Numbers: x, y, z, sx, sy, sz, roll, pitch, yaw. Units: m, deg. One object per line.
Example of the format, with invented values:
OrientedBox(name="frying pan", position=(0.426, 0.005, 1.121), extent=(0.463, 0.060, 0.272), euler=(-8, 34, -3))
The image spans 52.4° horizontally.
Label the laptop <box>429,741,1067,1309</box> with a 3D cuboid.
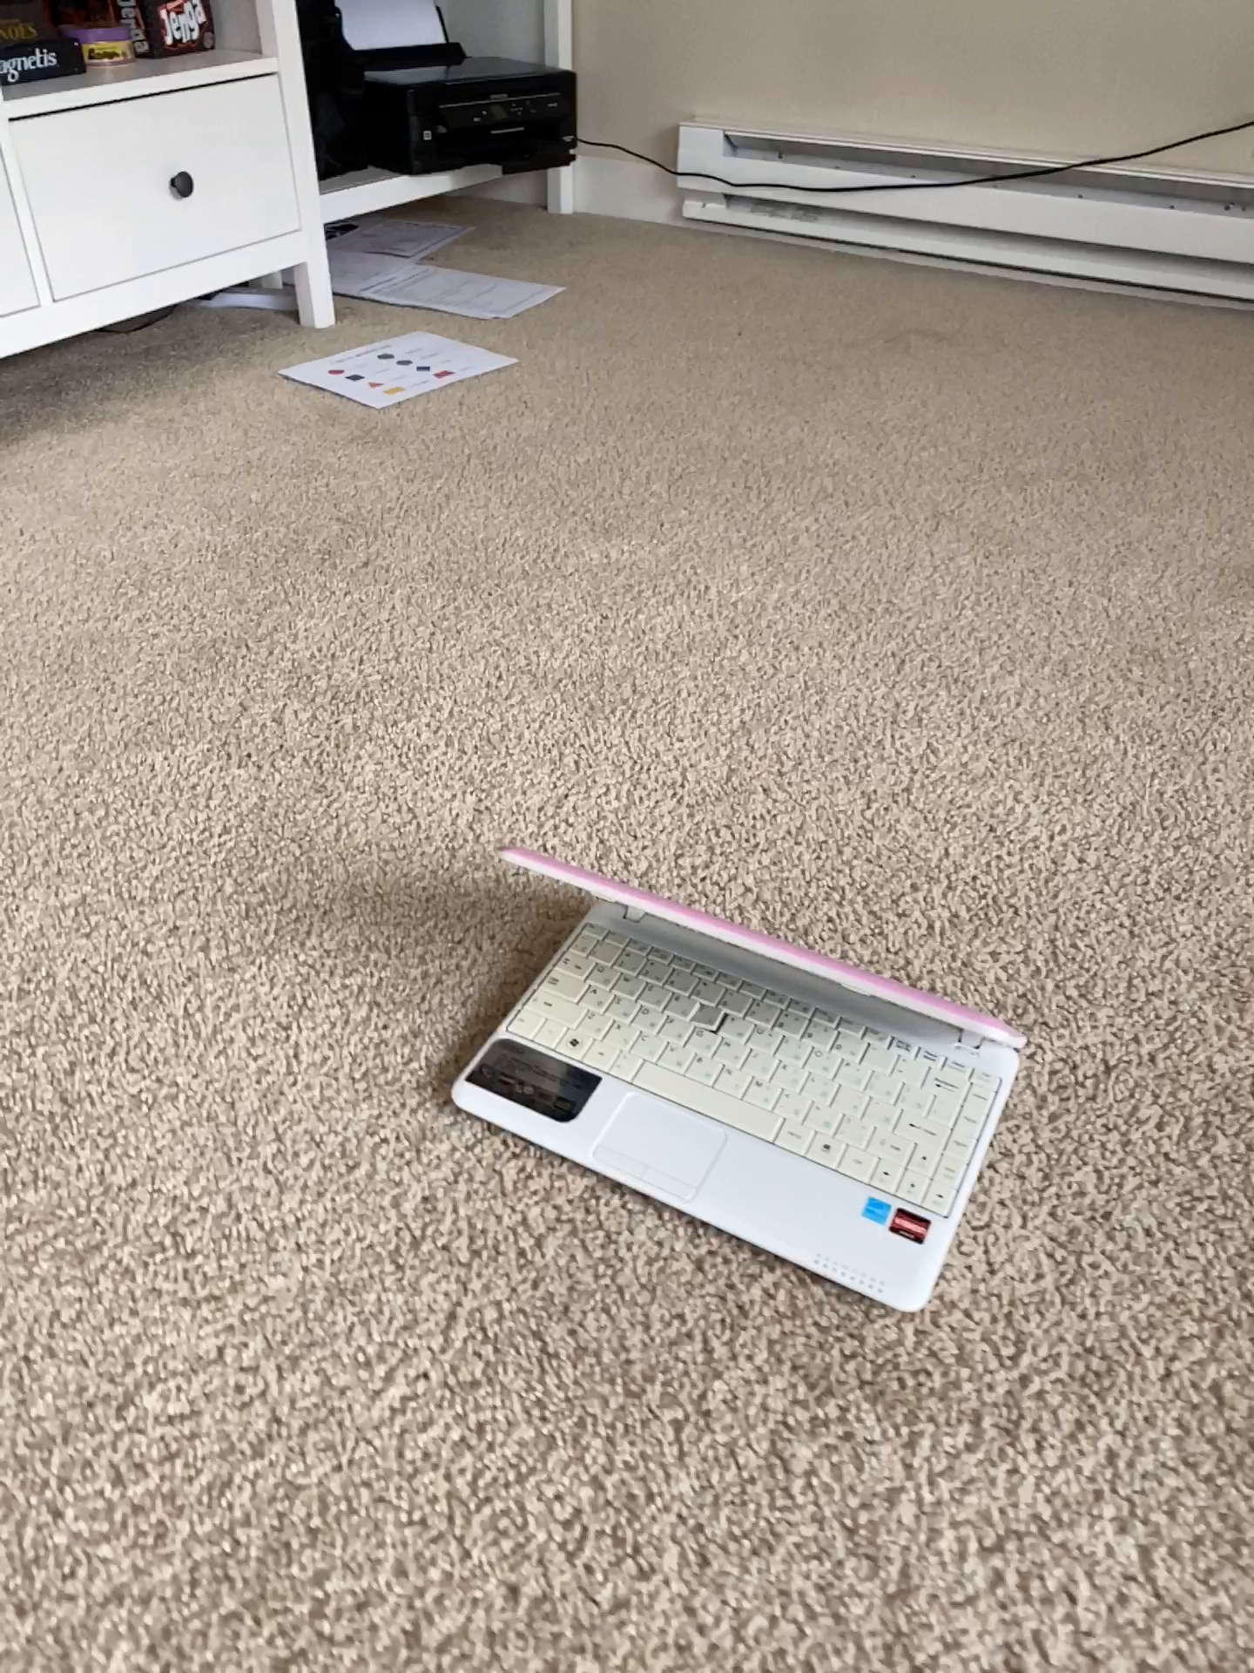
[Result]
OrientedBox(name="laptop", position=(0.067, 0.089, 0.727), extent=(0.290, 0.125, 0.194), euler=(19, 43, 22))
